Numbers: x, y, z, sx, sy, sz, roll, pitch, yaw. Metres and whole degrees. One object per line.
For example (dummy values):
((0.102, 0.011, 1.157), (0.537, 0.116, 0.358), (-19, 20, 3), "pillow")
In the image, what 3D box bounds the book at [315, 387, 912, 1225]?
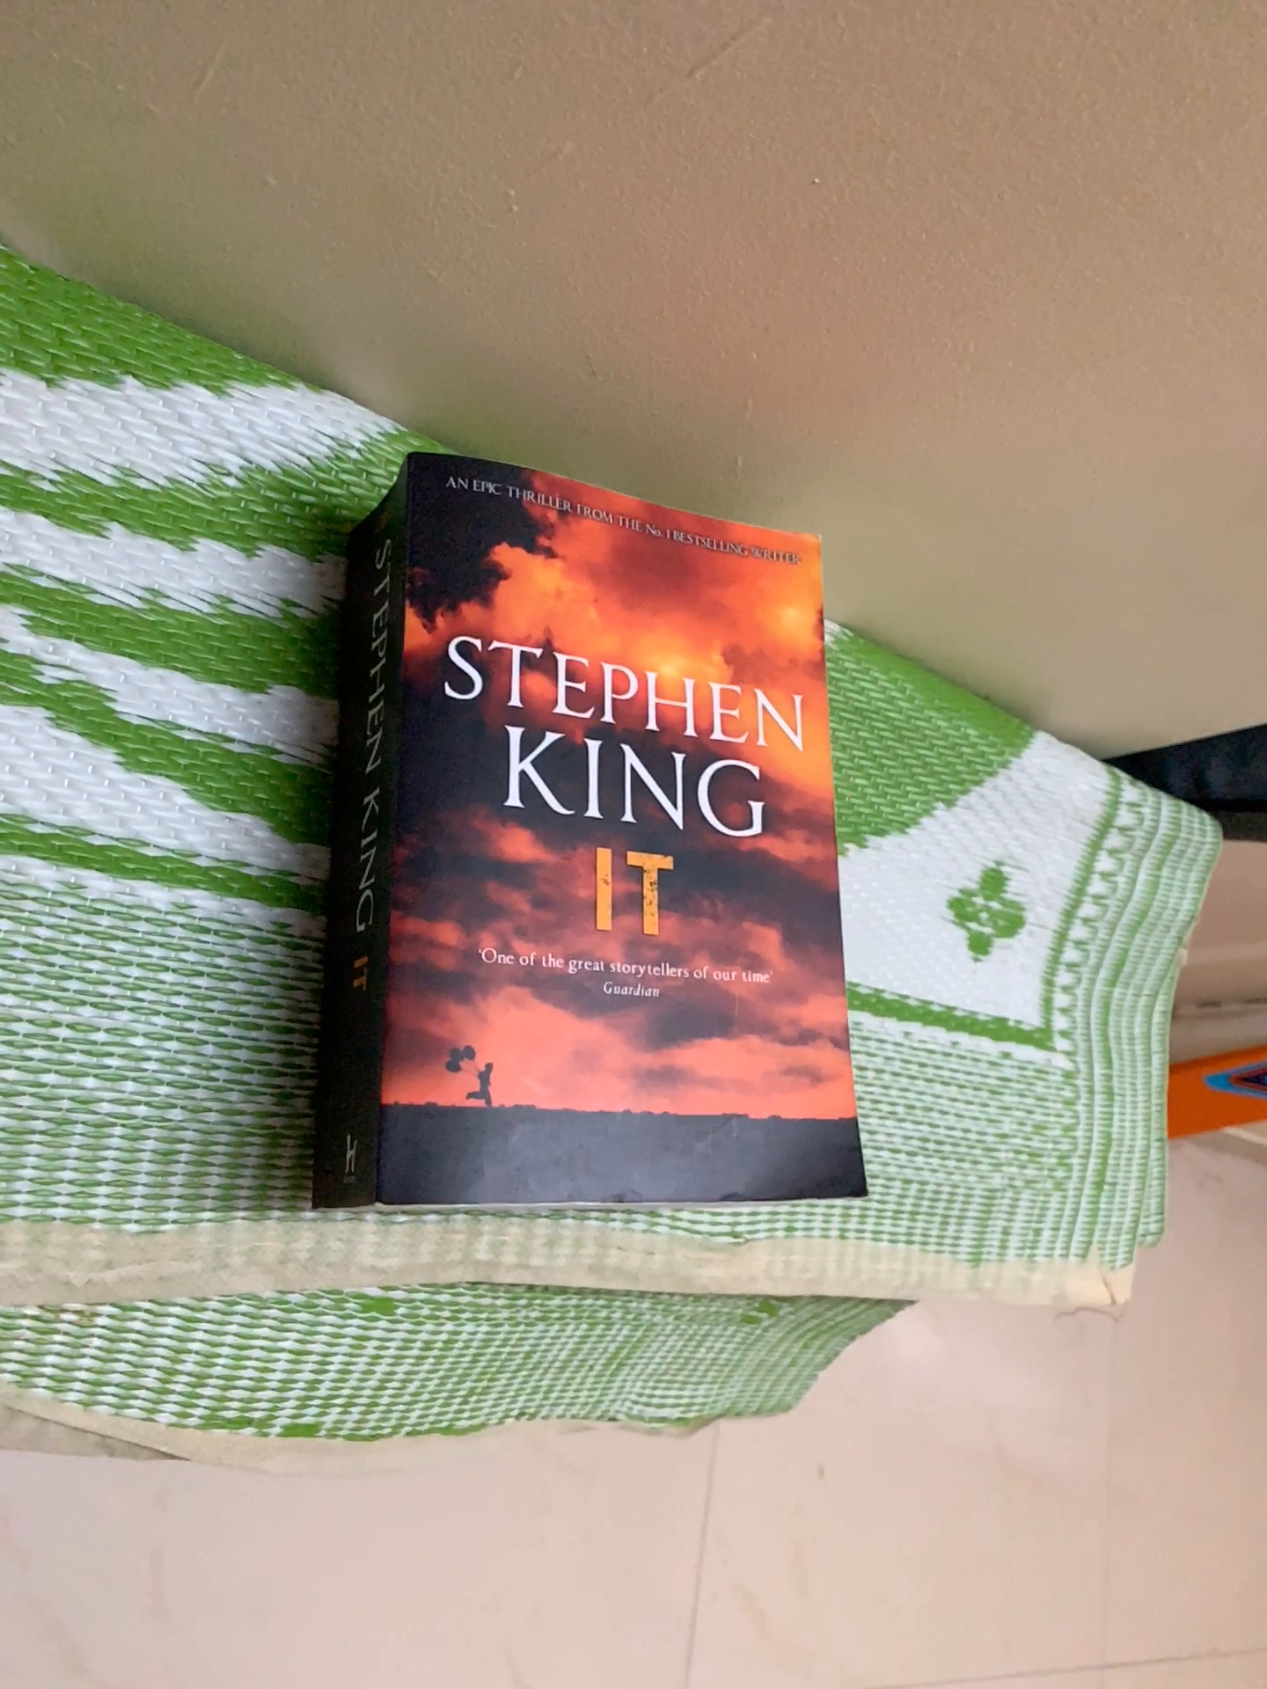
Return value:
((-0.006, -0.002, 0.377), (0.141, 0.070, 0.210), (10, 67, -31), "book")
